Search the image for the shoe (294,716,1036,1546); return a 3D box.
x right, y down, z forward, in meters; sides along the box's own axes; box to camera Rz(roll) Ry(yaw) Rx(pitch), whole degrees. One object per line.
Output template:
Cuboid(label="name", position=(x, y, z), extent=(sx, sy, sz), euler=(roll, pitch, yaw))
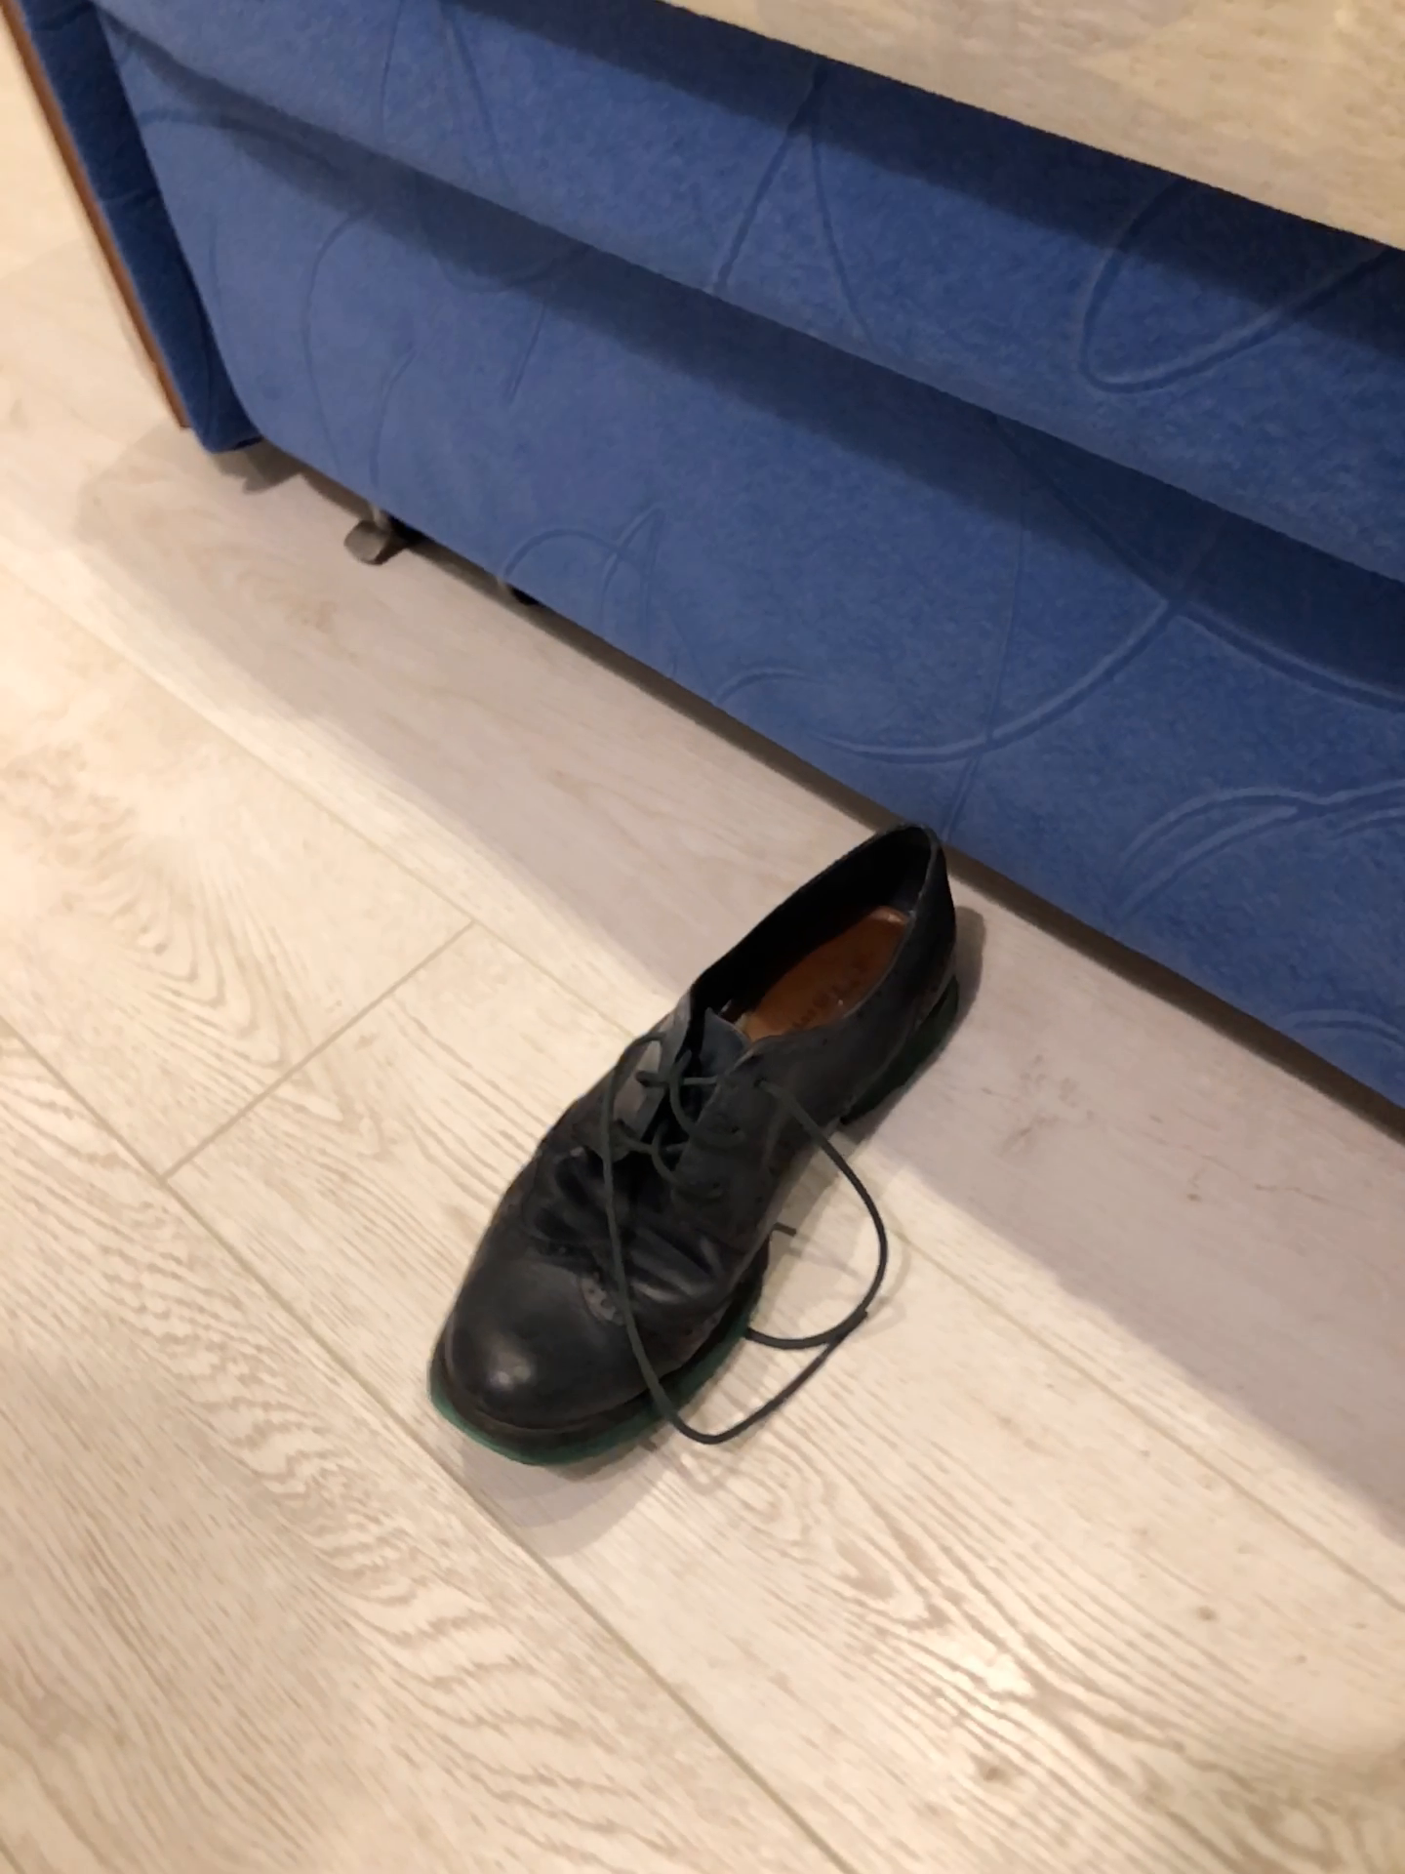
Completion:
Cuboid(label="shoe", position=(0.001, 0.052, 0.508), extent=(0.095, 0.089, 0.251), euler=(28, 59, 25))
